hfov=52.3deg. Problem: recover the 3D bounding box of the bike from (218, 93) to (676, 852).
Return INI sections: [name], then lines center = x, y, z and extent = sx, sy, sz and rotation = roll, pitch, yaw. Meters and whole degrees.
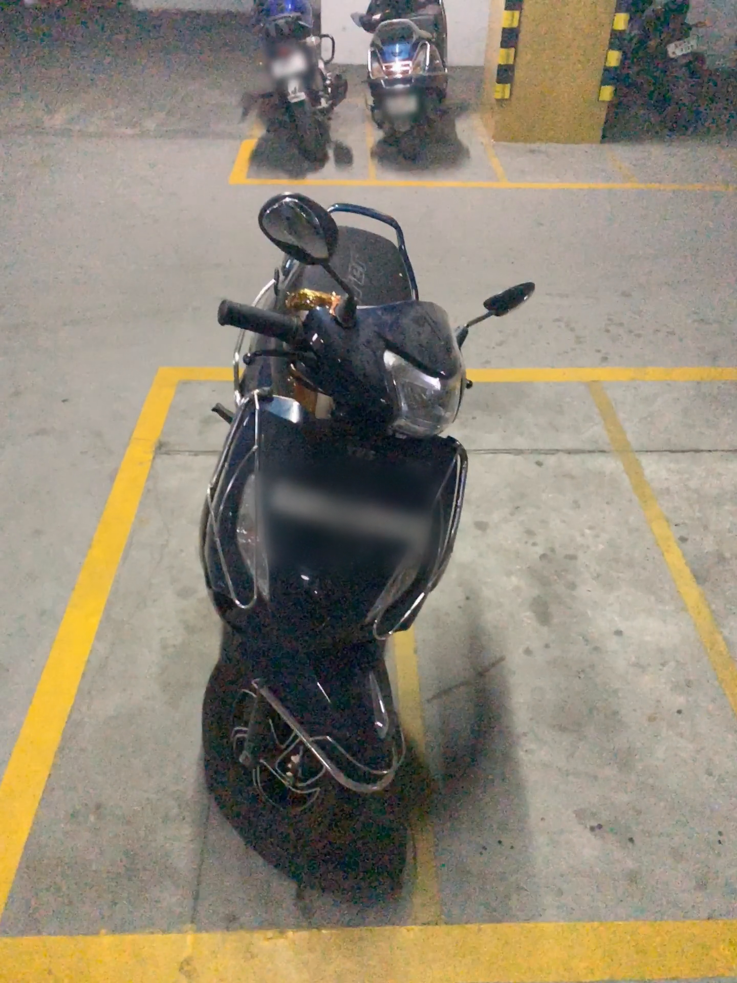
[bike]
center = 0.029, -0.197, 1.996
extent = 0.664, 1.029, 1.701
rotation = -3, 44, -5
